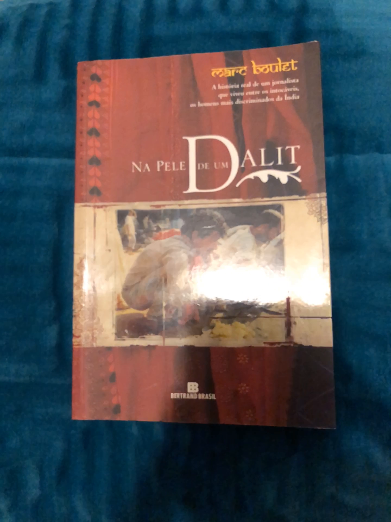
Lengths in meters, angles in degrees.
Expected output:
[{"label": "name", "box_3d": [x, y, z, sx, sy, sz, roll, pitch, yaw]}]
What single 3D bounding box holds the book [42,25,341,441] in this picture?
[{"label": "book", "box_3d": [-0.004, -0.017, 0.256, 0.160, 0.030, 0.220, -1, 85, 9]}]
